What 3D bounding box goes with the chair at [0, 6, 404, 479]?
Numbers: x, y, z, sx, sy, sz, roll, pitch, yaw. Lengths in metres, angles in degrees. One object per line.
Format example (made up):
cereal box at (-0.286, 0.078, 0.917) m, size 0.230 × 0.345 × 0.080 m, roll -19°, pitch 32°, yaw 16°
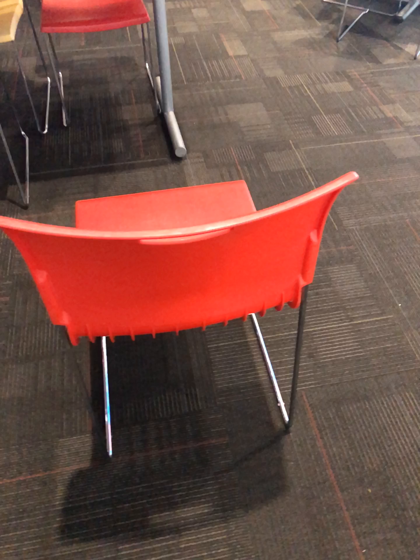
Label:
chair at (-0.089, -0.053, 1.023) m, size 0.560 × 0.767 × 0.613 m, roll -8°, pitch 49°, yaw -6°
